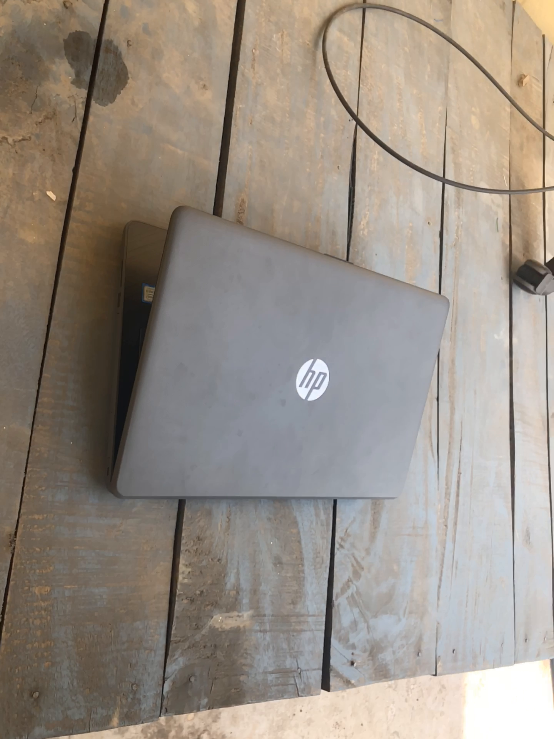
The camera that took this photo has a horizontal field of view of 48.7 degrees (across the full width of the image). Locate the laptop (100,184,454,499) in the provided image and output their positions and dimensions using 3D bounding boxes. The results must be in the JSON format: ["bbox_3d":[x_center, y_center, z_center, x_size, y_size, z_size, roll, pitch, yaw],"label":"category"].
[{"bbox_3d":[0.024,0.004,0.611,0.362,0.096,0.243,10,75,-38],"label":"laptop"}]
